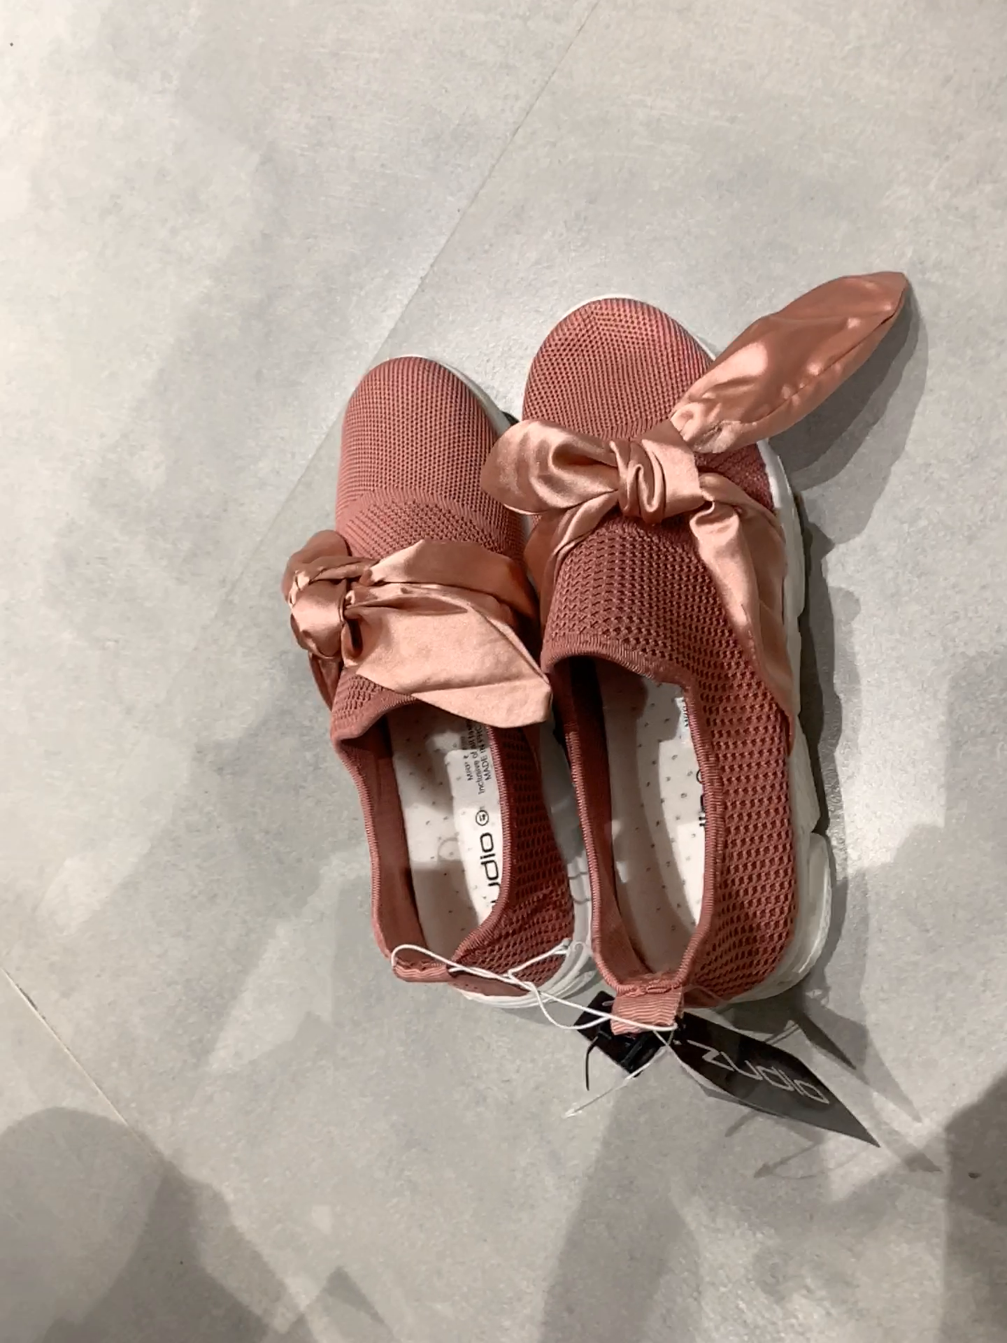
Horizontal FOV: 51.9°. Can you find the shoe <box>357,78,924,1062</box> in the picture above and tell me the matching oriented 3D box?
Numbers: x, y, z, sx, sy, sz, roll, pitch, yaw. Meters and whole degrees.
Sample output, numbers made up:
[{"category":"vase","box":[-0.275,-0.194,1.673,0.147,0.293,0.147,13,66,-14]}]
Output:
[{"category":"shoe","box":[0.046,-0.027,0.347,0.110,0.100,0.270,-15,78,22]}]

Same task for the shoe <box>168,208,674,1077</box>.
[{"category":"shoe","box":[-0.031,-0.007,0.388,0.110,0.100,0.270,-15,78,22]}]
